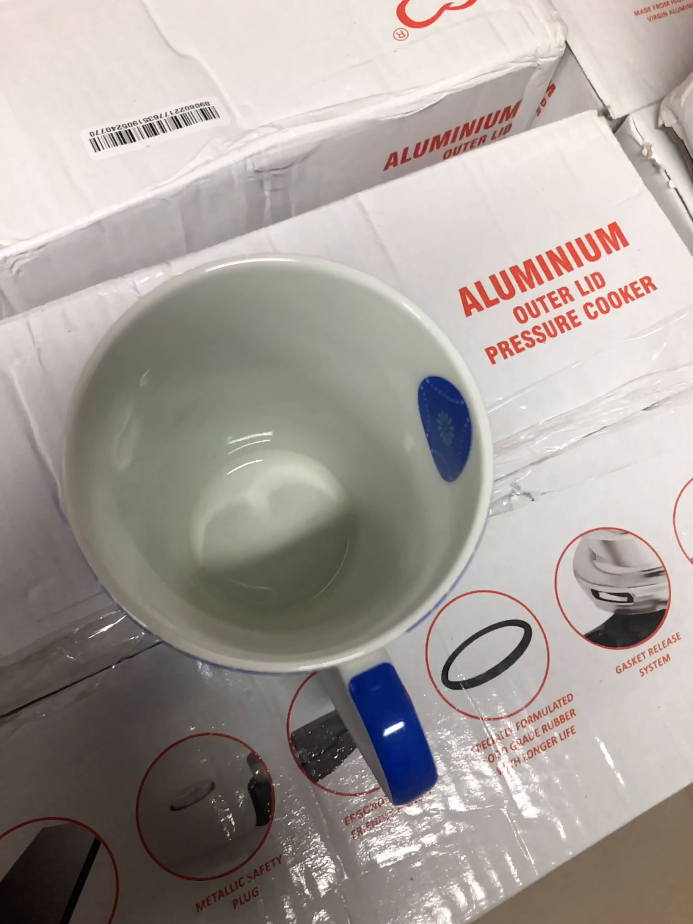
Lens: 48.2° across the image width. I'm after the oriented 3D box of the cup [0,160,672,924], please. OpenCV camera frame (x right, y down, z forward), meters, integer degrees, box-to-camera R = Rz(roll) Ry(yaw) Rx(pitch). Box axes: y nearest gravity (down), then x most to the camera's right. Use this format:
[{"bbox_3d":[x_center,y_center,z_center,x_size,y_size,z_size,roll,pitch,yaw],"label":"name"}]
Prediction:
[{"bbox_3d":[-0.013,0.021,0.175,0.080,0.090,0.120,-26,83,-13],"label":"cup"}]
